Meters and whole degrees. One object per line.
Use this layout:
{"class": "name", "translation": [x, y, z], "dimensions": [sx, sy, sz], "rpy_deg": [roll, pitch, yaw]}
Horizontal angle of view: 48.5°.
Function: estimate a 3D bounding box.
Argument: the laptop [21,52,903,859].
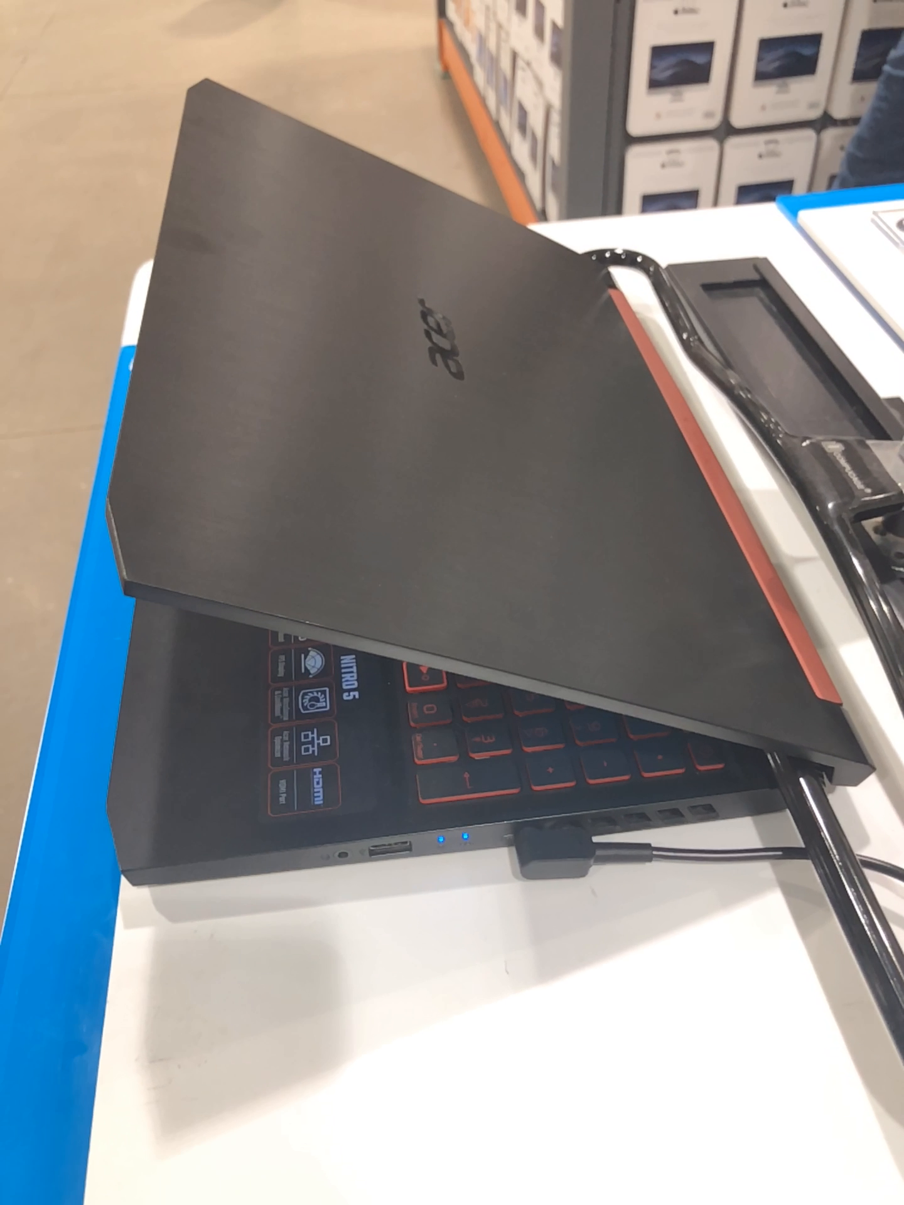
{"class": "laptop", "translation": [-0.017, -0.095, 0.407], "dimensions": [0.218, 0.121, 0.346], "rpy_deg": [-7, 45, -4]}
